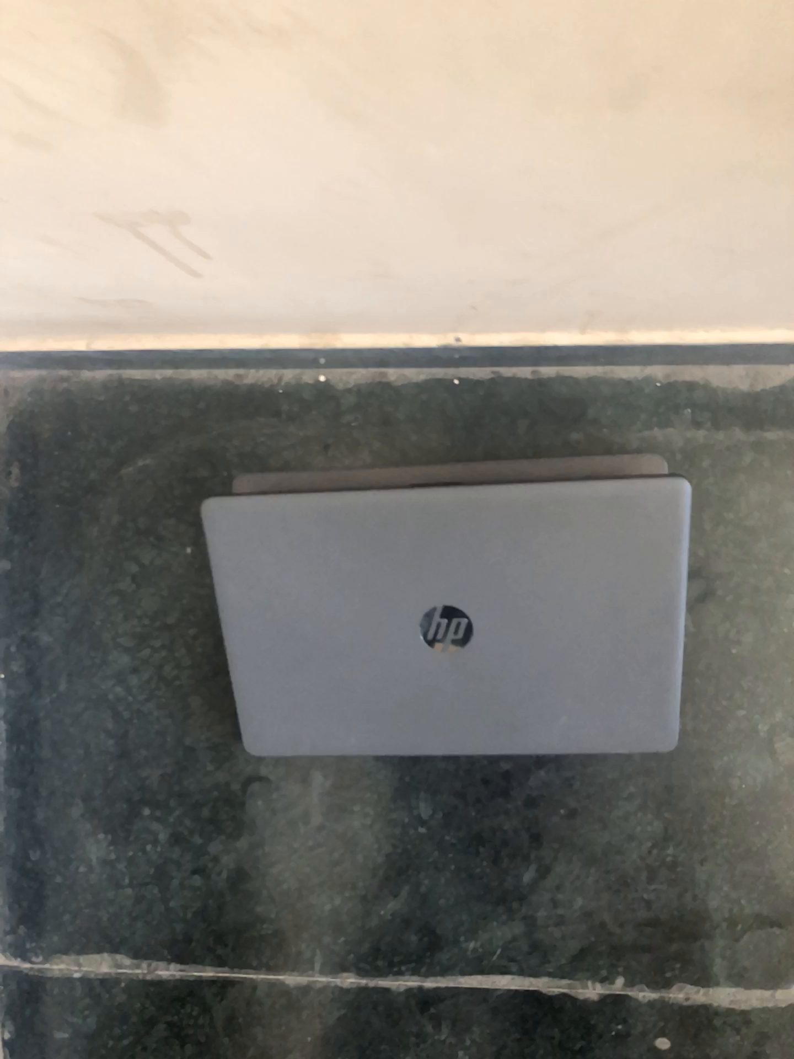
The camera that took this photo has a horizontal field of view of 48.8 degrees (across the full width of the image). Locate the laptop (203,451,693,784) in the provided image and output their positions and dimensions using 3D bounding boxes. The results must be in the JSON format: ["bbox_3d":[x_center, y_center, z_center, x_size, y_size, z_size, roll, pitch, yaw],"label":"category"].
[{"bbox_3d":[0.041,0.069,0.702,0.357,0.092,0.243,-2,94,6],"label":"laptop"}]
